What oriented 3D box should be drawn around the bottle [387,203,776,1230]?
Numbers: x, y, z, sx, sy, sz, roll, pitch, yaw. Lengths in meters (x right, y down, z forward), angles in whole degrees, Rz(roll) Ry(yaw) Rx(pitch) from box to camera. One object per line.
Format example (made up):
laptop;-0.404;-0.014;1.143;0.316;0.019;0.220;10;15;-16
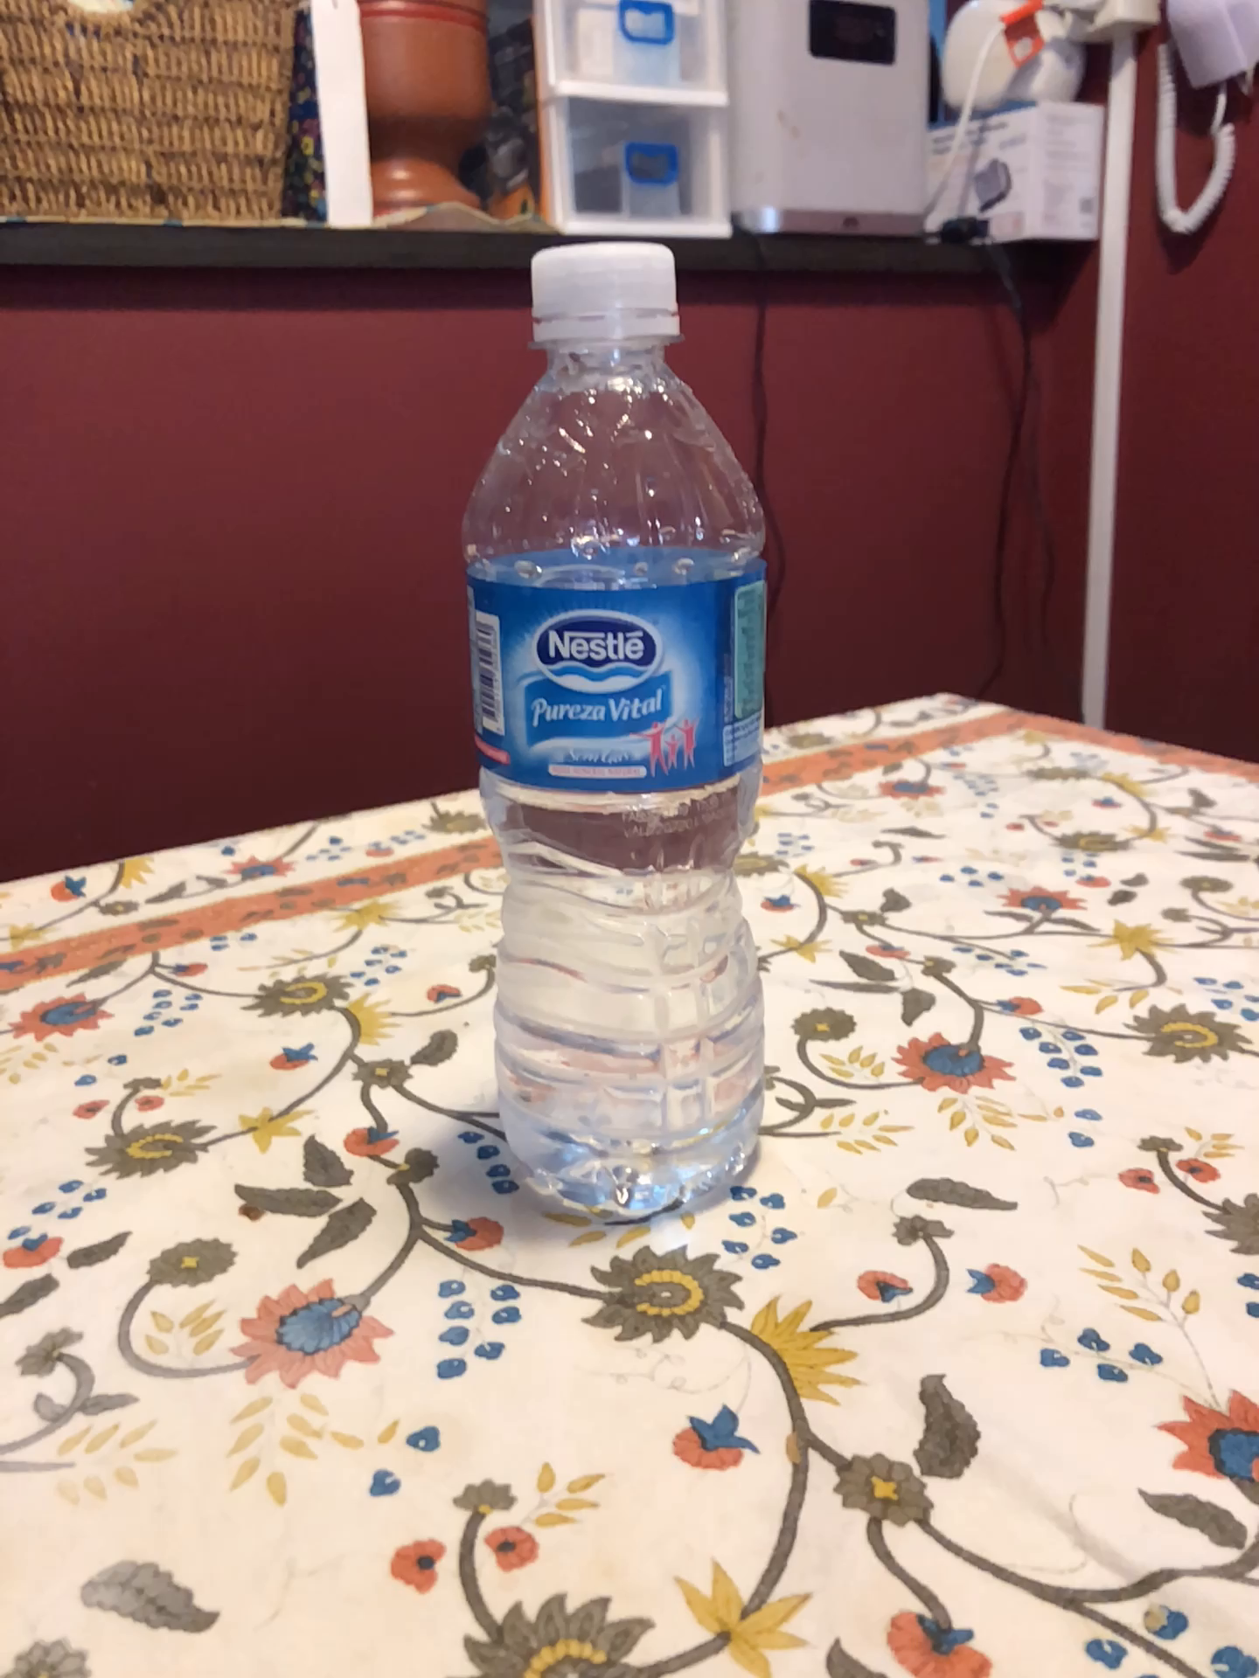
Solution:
bottle;-0.003;-0.022;0.289;0.060;0.189;0.070;-2;16;4
